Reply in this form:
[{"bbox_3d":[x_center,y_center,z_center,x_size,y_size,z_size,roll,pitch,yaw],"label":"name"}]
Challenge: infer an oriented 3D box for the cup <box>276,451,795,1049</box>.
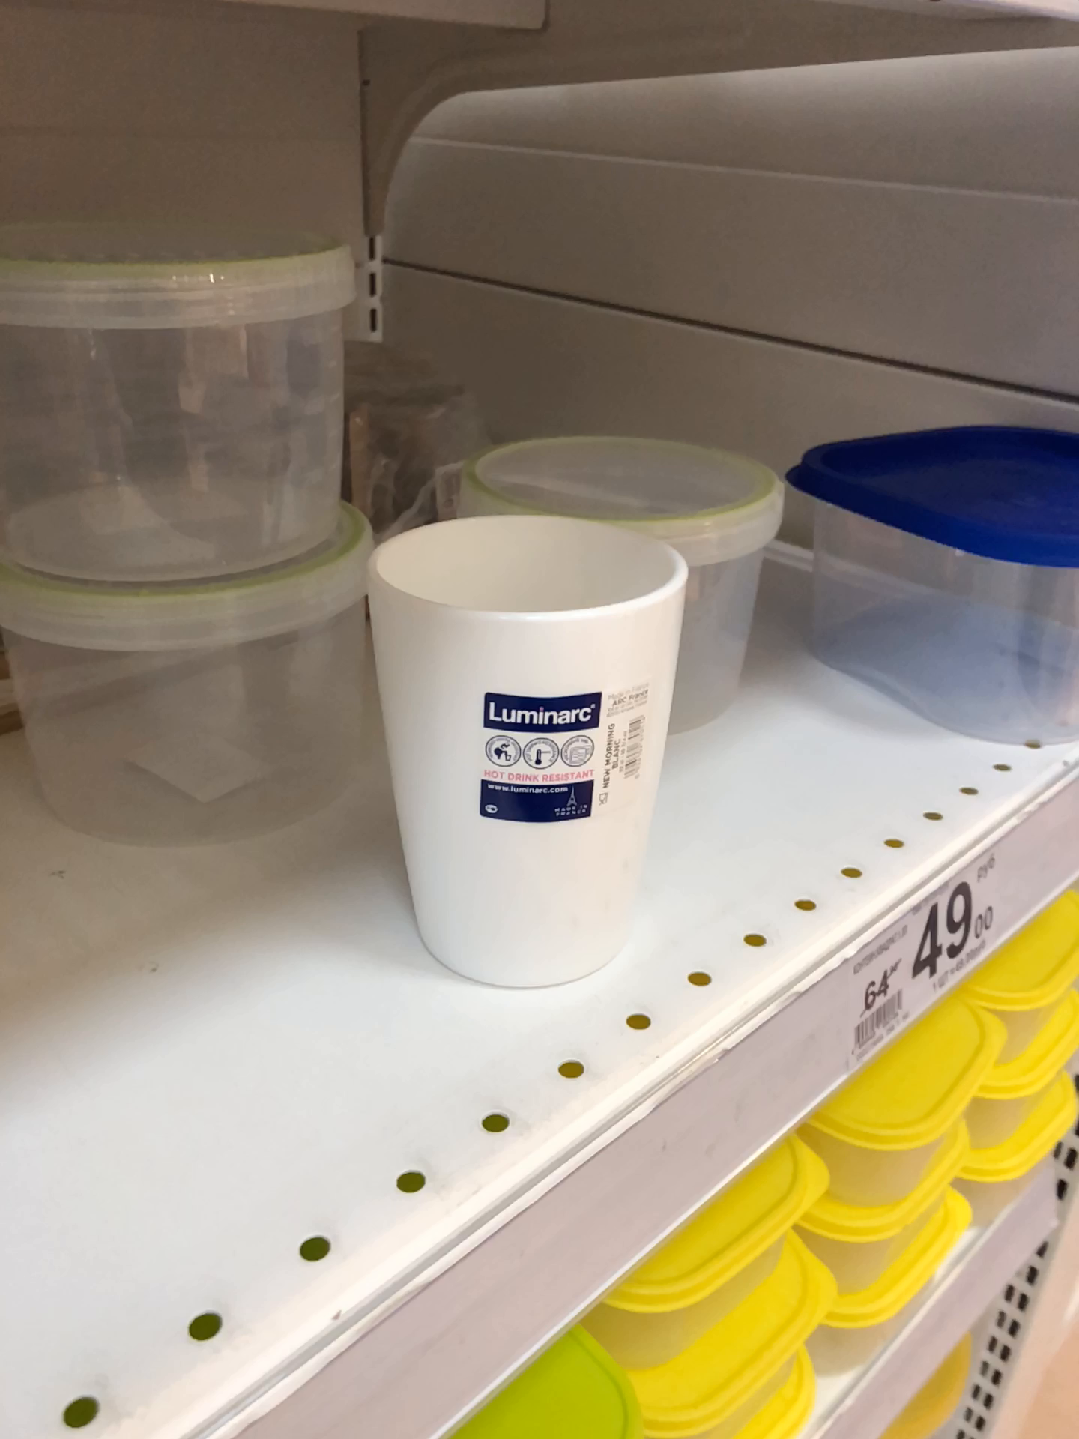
[{"bbox_3d":[0.003,-0.001,0.329,0.079,0.107,0.121,19,32,28],"label":"cup"}]
